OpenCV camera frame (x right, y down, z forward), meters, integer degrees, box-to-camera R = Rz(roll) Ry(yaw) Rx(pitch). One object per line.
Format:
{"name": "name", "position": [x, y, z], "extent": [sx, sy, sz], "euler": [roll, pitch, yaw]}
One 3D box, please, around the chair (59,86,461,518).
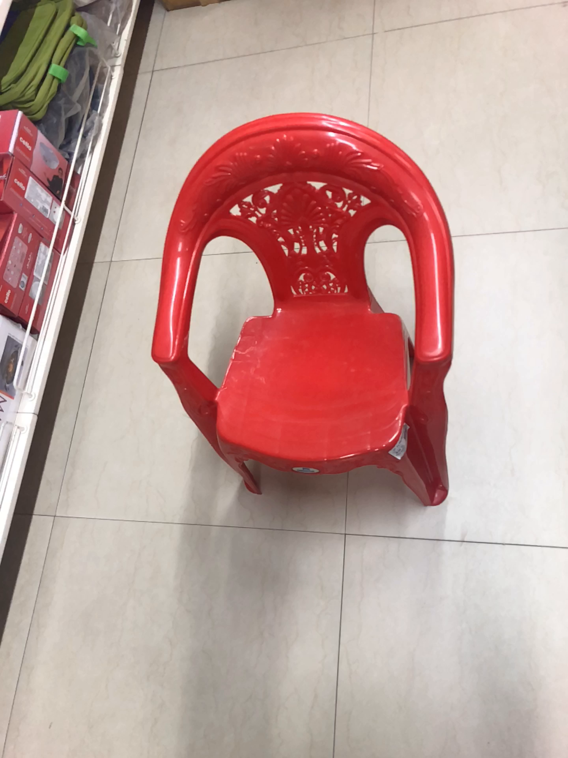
{"name": "chair", "position": [0.042, -0.047, 0.878], "extent": [0.391, 0.508, 0.371], "euler": [0, 68, 17]}
